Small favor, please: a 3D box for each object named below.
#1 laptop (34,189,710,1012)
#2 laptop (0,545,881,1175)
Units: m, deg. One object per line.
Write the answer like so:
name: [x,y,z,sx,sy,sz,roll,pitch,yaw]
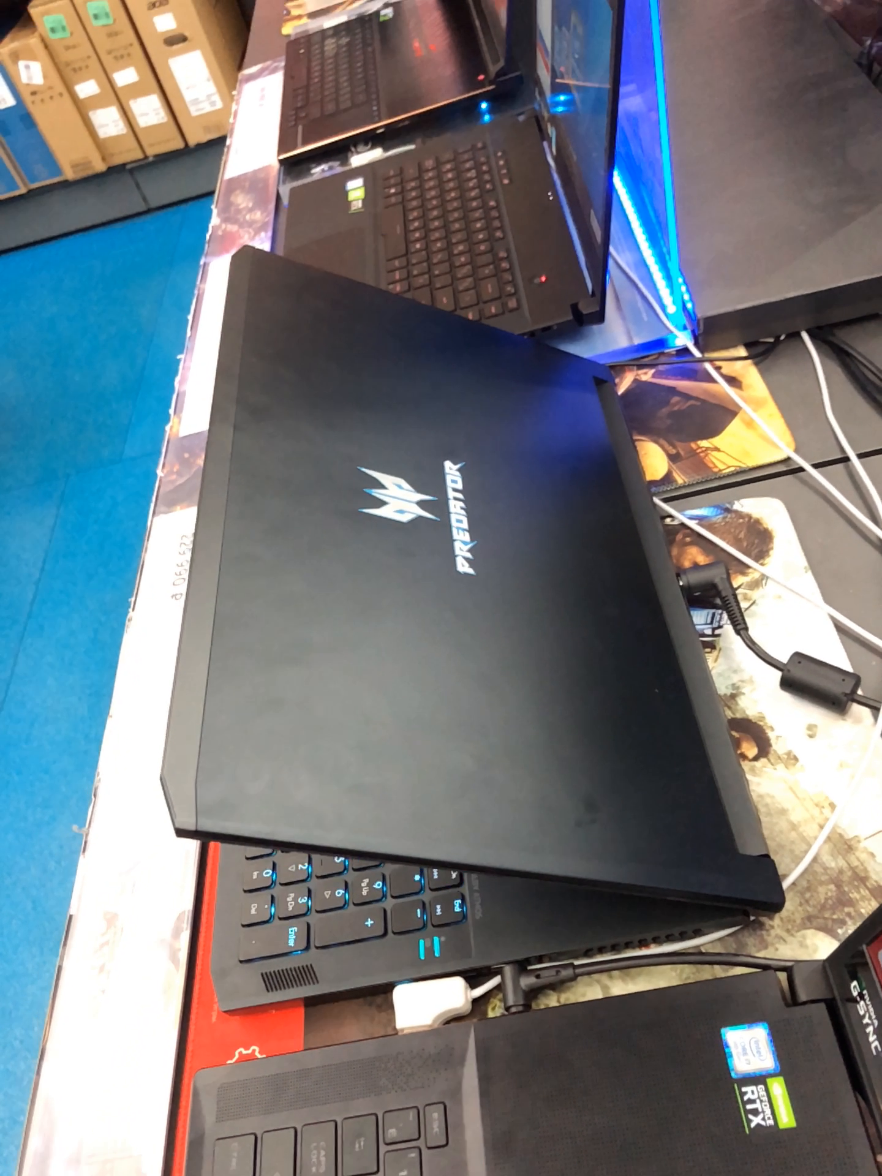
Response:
laptop: [-0.024,-0.016,0.499,0.226,0.152,0.372,-13,46,9]
laptop: [0.039,0.245,0.181,0.363,0.236,0.373,-13,46,9]
